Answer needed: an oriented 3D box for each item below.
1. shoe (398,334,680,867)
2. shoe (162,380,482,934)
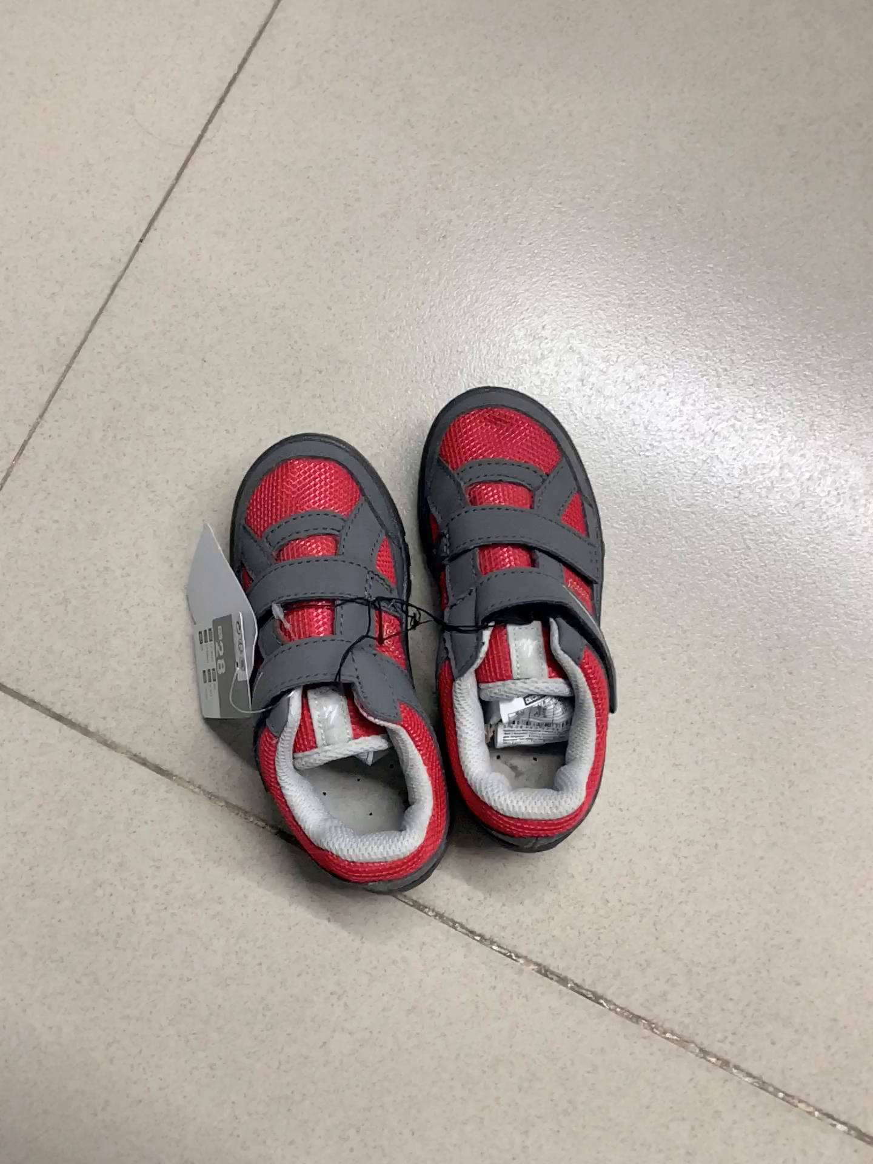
[{"bbox_3d":[0.036,0.008,0.369,0.080,0.080,0.190,-6,82,0],"label":"shoe"},{"bbox_3d":[-0.042,0.028,0.351,0.080,0.080,0.180,-12,82,-1],"label":"shoe"}]
